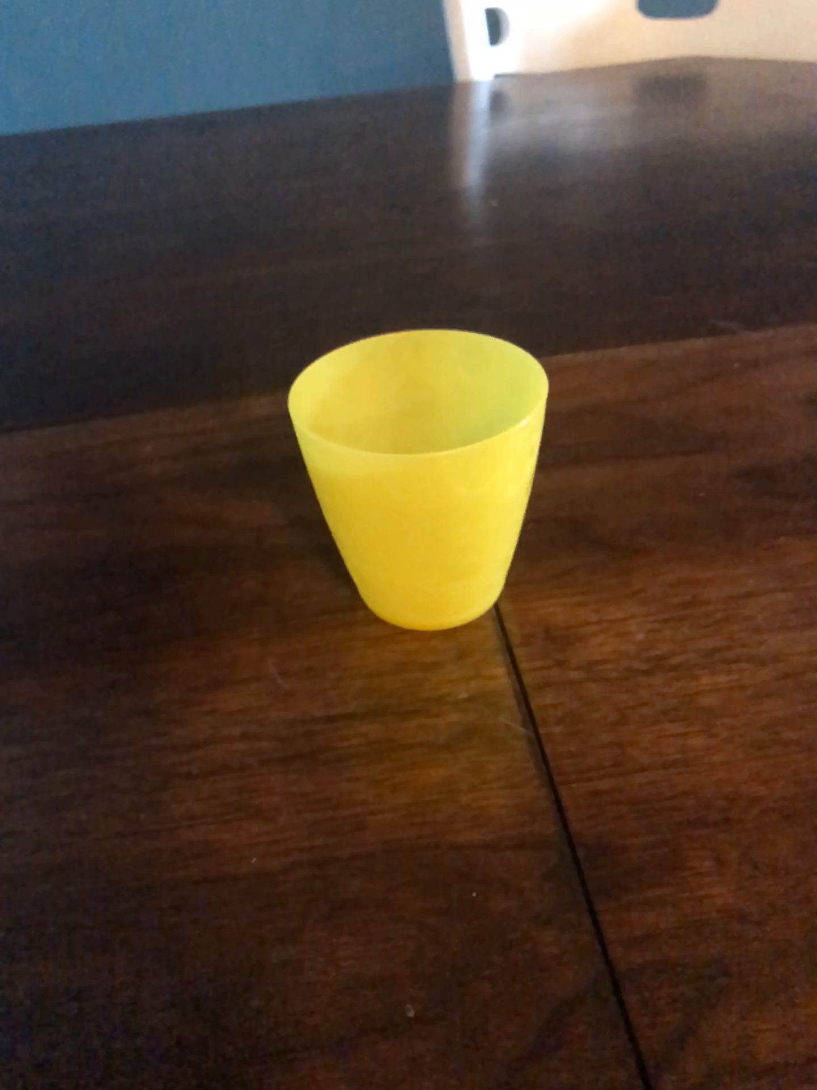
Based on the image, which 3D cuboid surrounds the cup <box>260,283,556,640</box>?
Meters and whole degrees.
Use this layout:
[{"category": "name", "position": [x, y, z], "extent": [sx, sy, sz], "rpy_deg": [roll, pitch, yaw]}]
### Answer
[{"category": "cup", "position": [0.000, -0.029, 0.302], "extent": [0.080, 0.080, 0.080], "rpy_deg": [-4, 37, 3]}]
